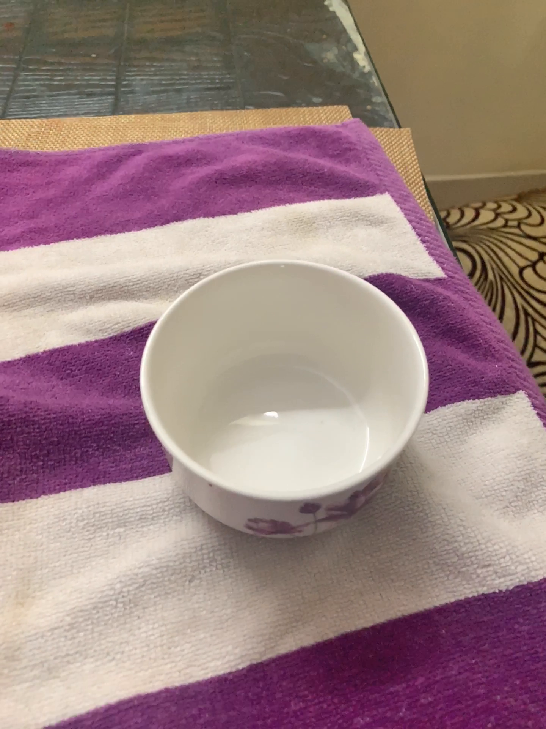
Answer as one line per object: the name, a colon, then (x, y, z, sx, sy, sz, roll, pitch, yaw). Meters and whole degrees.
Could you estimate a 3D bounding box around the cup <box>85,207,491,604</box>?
cup: (-0.003, 0.007, 0.203, 0.100, 0.050, 0.111, -14, 56, -12)
